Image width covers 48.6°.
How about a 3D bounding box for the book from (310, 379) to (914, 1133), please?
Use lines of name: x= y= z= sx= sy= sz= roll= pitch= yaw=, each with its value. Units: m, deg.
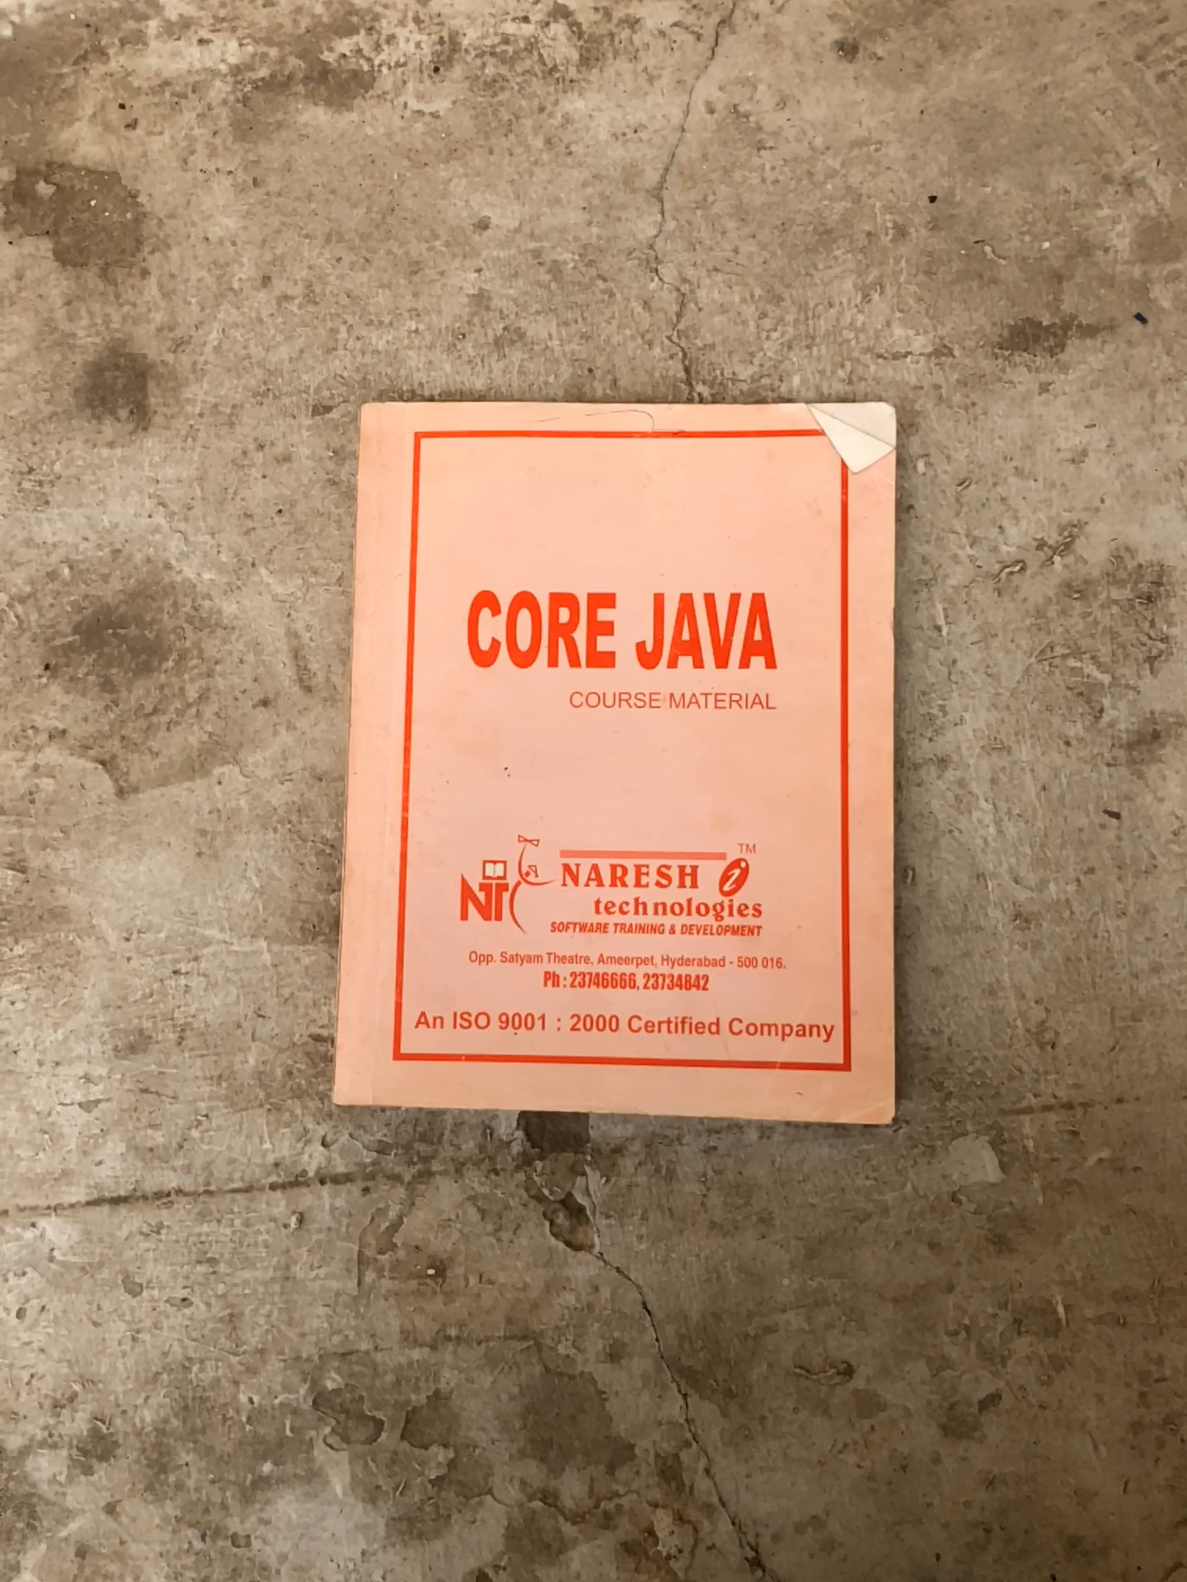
book: x=0.007 y=-0.015 z=0.469 sx=0.200 sy=0.030 sz=0.260 roll=0 pitch=82 yaw=4
